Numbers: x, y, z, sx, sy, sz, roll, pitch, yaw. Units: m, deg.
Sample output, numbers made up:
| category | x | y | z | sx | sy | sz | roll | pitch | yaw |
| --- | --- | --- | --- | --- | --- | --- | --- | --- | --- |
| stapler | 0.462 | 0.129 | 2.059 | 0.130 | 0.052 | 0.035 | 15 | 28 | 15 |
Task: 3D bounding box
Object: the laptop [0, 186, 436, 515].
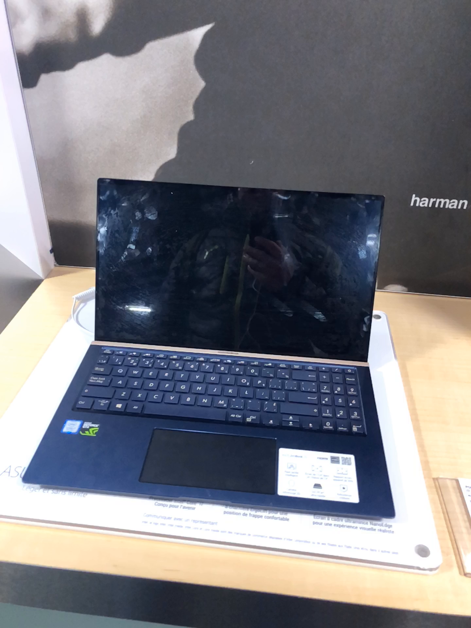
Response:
| category | x | y | z | sx | sy | sz | roll | pitch | yaw |
| --- | --- | --- | --- | --- | --- | --- | --- | --- | --- |
| laptop | -0.014 | 0.010 | 0.532 | 0.330 | 0.173 | 0.294 | 4 | 34 | 5 |
